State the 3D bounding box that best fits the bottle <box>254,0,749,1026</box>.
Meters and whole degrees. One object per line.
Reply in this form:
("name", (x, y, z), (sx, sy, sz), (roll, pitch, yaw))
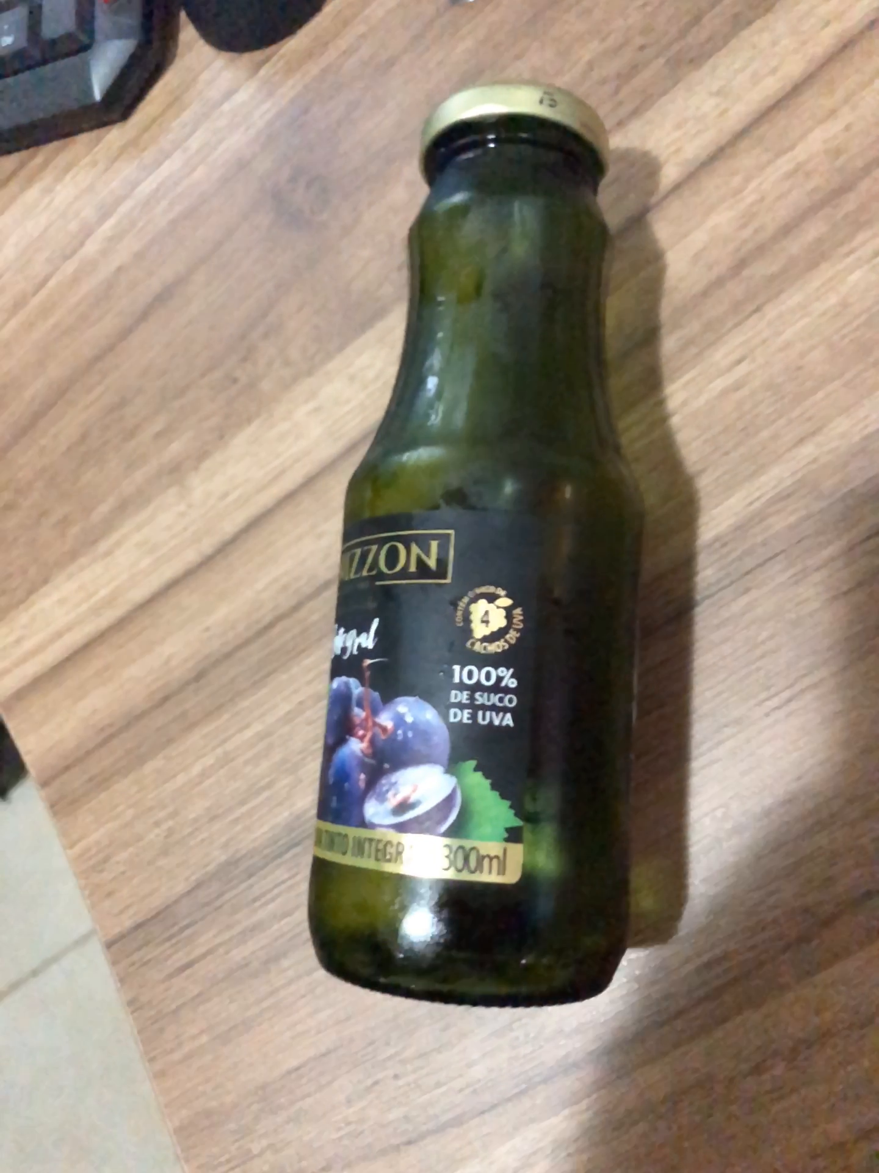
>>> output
("bottle", (0.014, -0.023, 0.215), (0.070, 0.070, 0.200), (-12, 71, 60))
